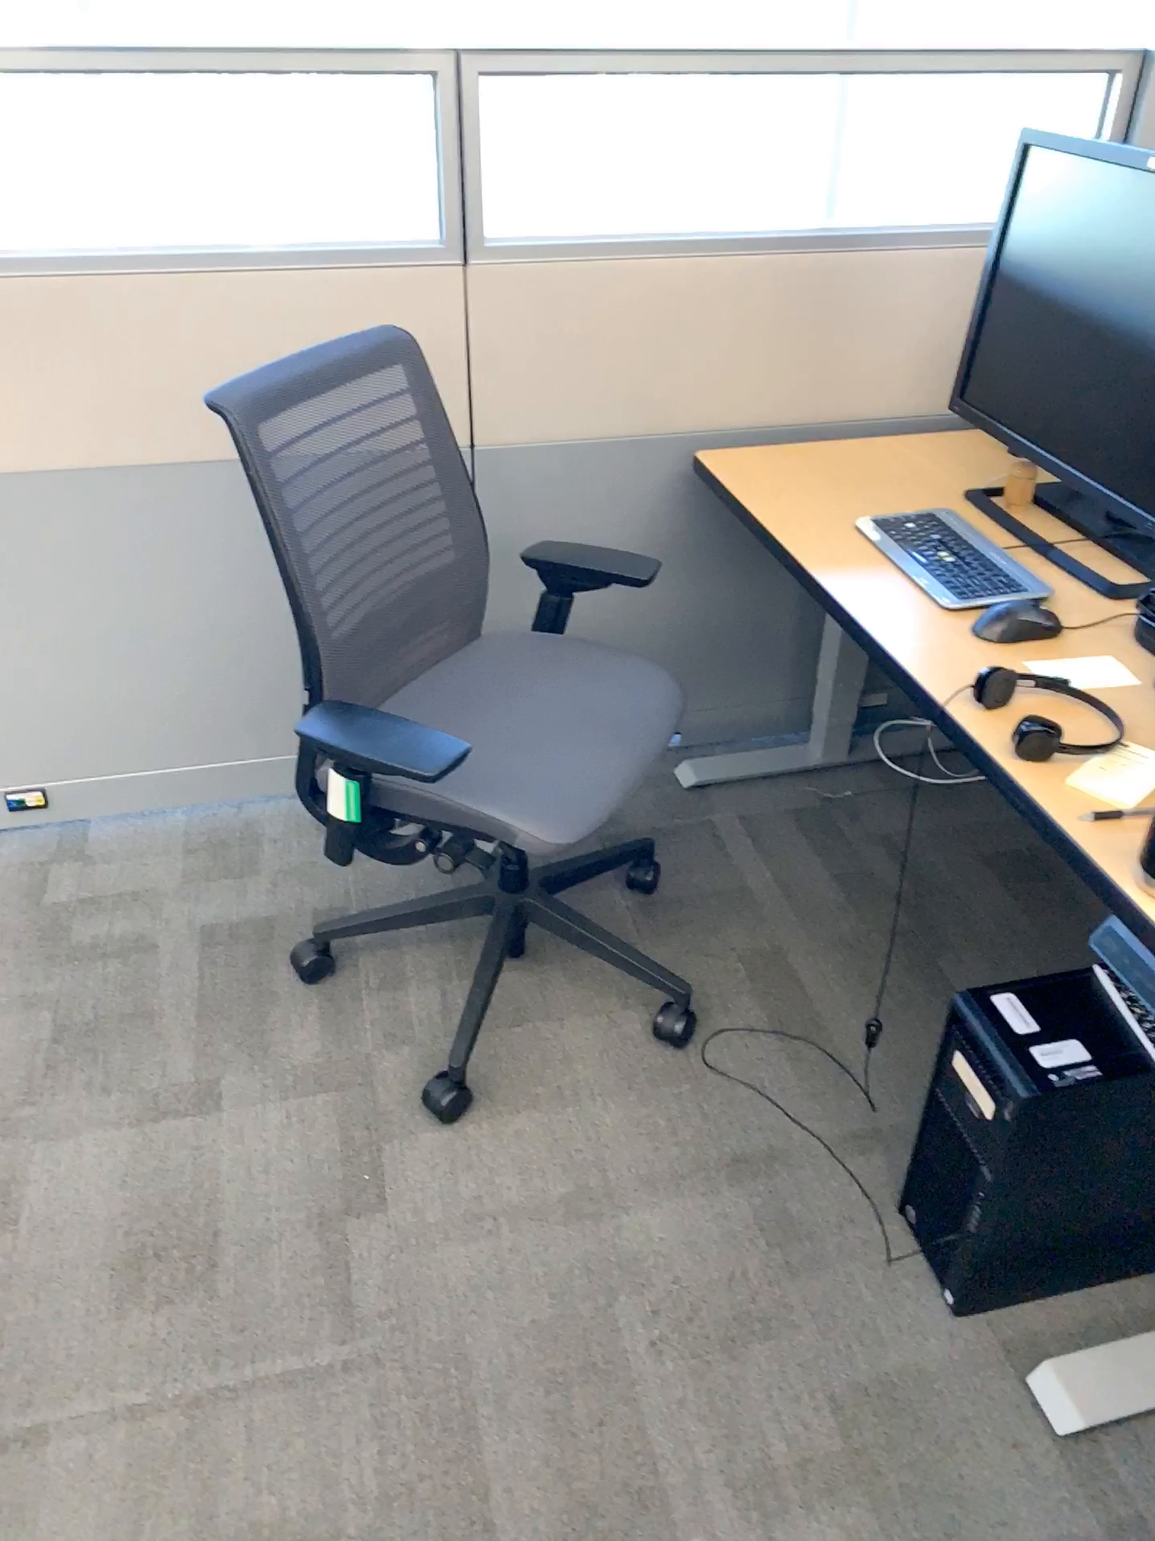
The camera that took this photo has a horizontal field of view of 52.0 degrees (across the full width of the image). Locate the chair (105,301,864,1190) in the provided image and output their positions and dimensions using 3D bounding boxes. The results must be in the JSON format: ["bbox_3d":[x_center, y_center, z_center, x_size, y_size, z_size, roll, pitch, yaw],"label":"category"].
[{"bbox_3d":[-0.090,-0.093,1.973,0.802,1.083,0.773,15,36,20],"label":"chair"}]

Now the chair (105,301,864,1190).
[{"bbox_3d":[-0.090,-0.093,1.973,0.802,1.083,0.773,15,36,20],"label":"chair"}]
